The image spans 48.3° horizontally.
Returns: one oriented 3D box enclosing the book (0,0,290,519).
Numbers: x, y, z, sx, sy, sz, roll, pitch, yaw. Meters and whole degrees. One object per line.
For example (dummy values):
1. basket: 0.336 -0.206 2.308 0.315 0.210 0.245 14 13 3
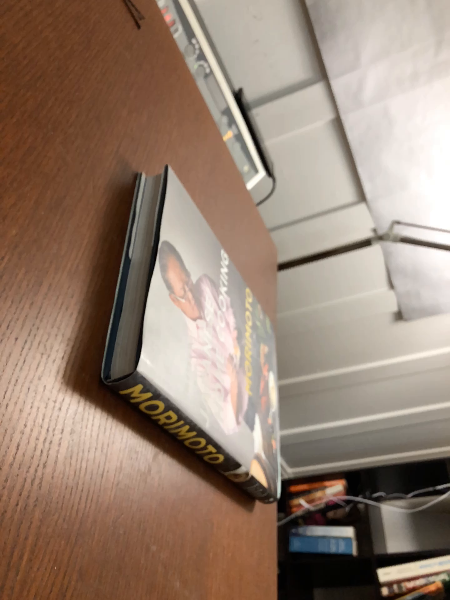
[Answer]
1. book: -0.027 -0.048 0.336 0.221 0.030 0.300 -71 141 -57
